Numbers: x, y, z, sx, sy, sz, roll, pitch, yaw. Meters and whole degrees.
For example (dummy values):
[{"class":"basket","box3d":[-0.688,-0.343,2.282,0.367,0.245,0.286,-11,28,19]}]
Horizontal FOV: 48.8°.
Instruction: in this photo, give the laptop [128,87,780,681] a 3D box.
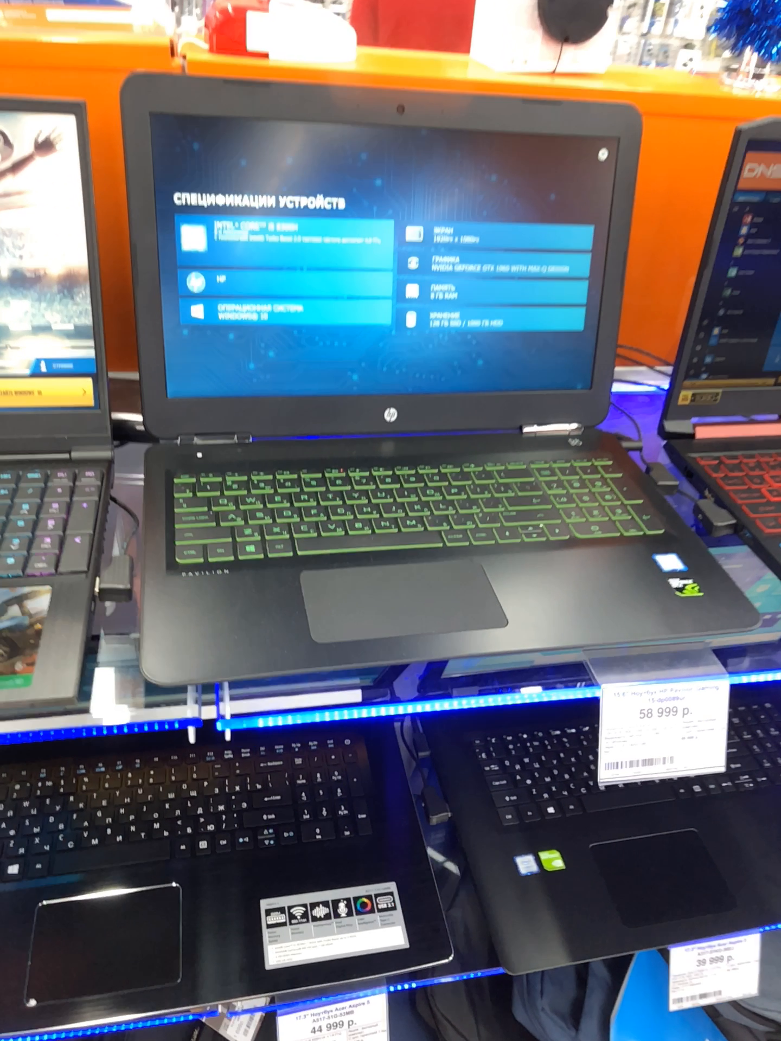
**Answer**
[{"class":"laptop","box3d":[0.031,-0.113,0.550,0.357,0.235,0.313,-3,35,-13]}]
